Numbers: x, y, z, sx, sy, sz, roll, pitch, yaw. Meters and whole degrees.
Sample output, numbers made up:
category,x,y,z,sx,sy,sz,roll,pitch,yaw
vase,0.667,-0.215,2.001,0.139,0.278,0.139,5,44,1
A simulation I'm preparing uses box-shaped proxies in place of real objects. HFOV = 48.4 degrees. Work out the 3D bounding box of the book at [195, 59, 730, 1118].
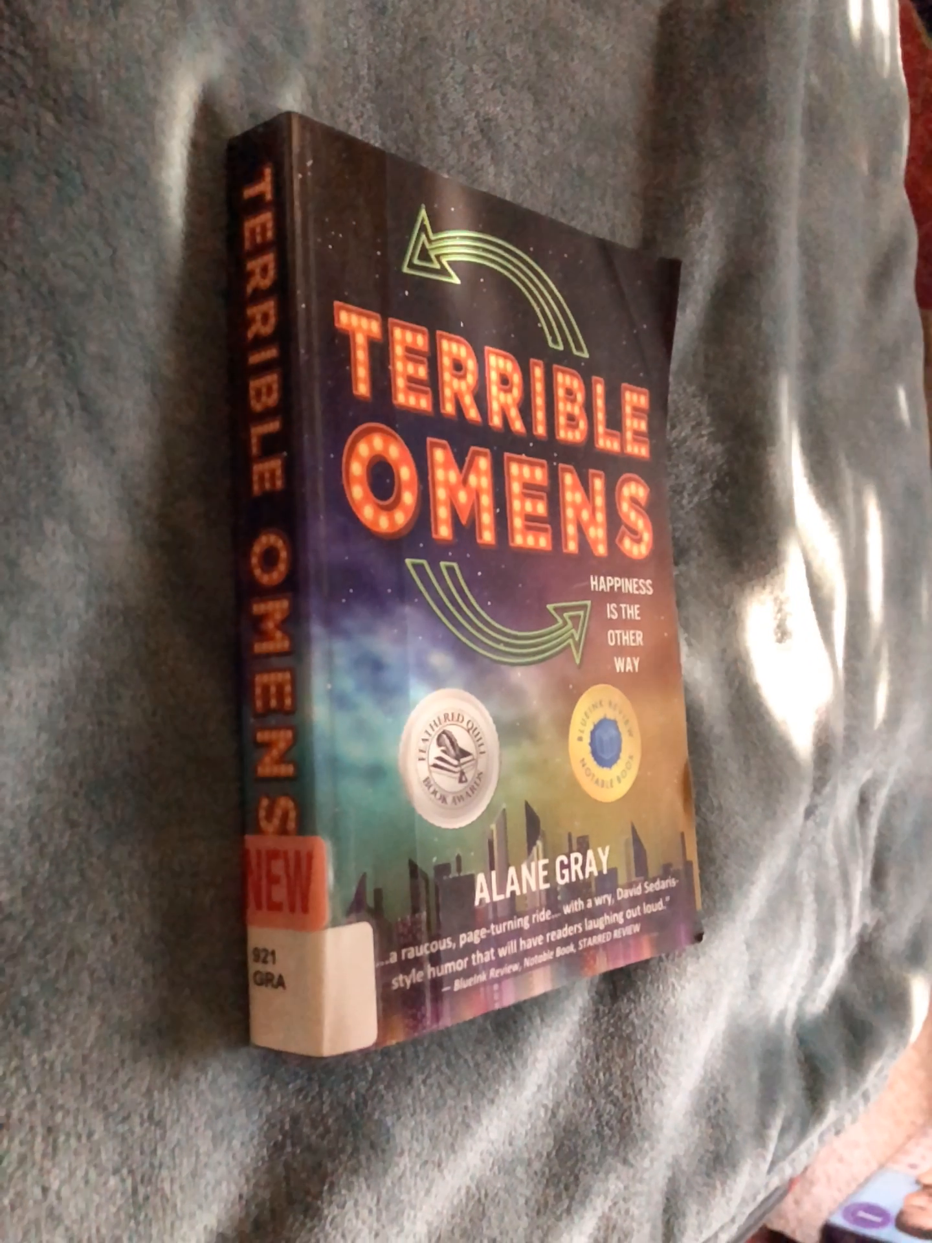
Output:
category,x,y,z,sx,sy,sz,roll,pitch,yaw
book,0.007,-0.007,0.254,0.141,0.028,0.200,1,83,-45
